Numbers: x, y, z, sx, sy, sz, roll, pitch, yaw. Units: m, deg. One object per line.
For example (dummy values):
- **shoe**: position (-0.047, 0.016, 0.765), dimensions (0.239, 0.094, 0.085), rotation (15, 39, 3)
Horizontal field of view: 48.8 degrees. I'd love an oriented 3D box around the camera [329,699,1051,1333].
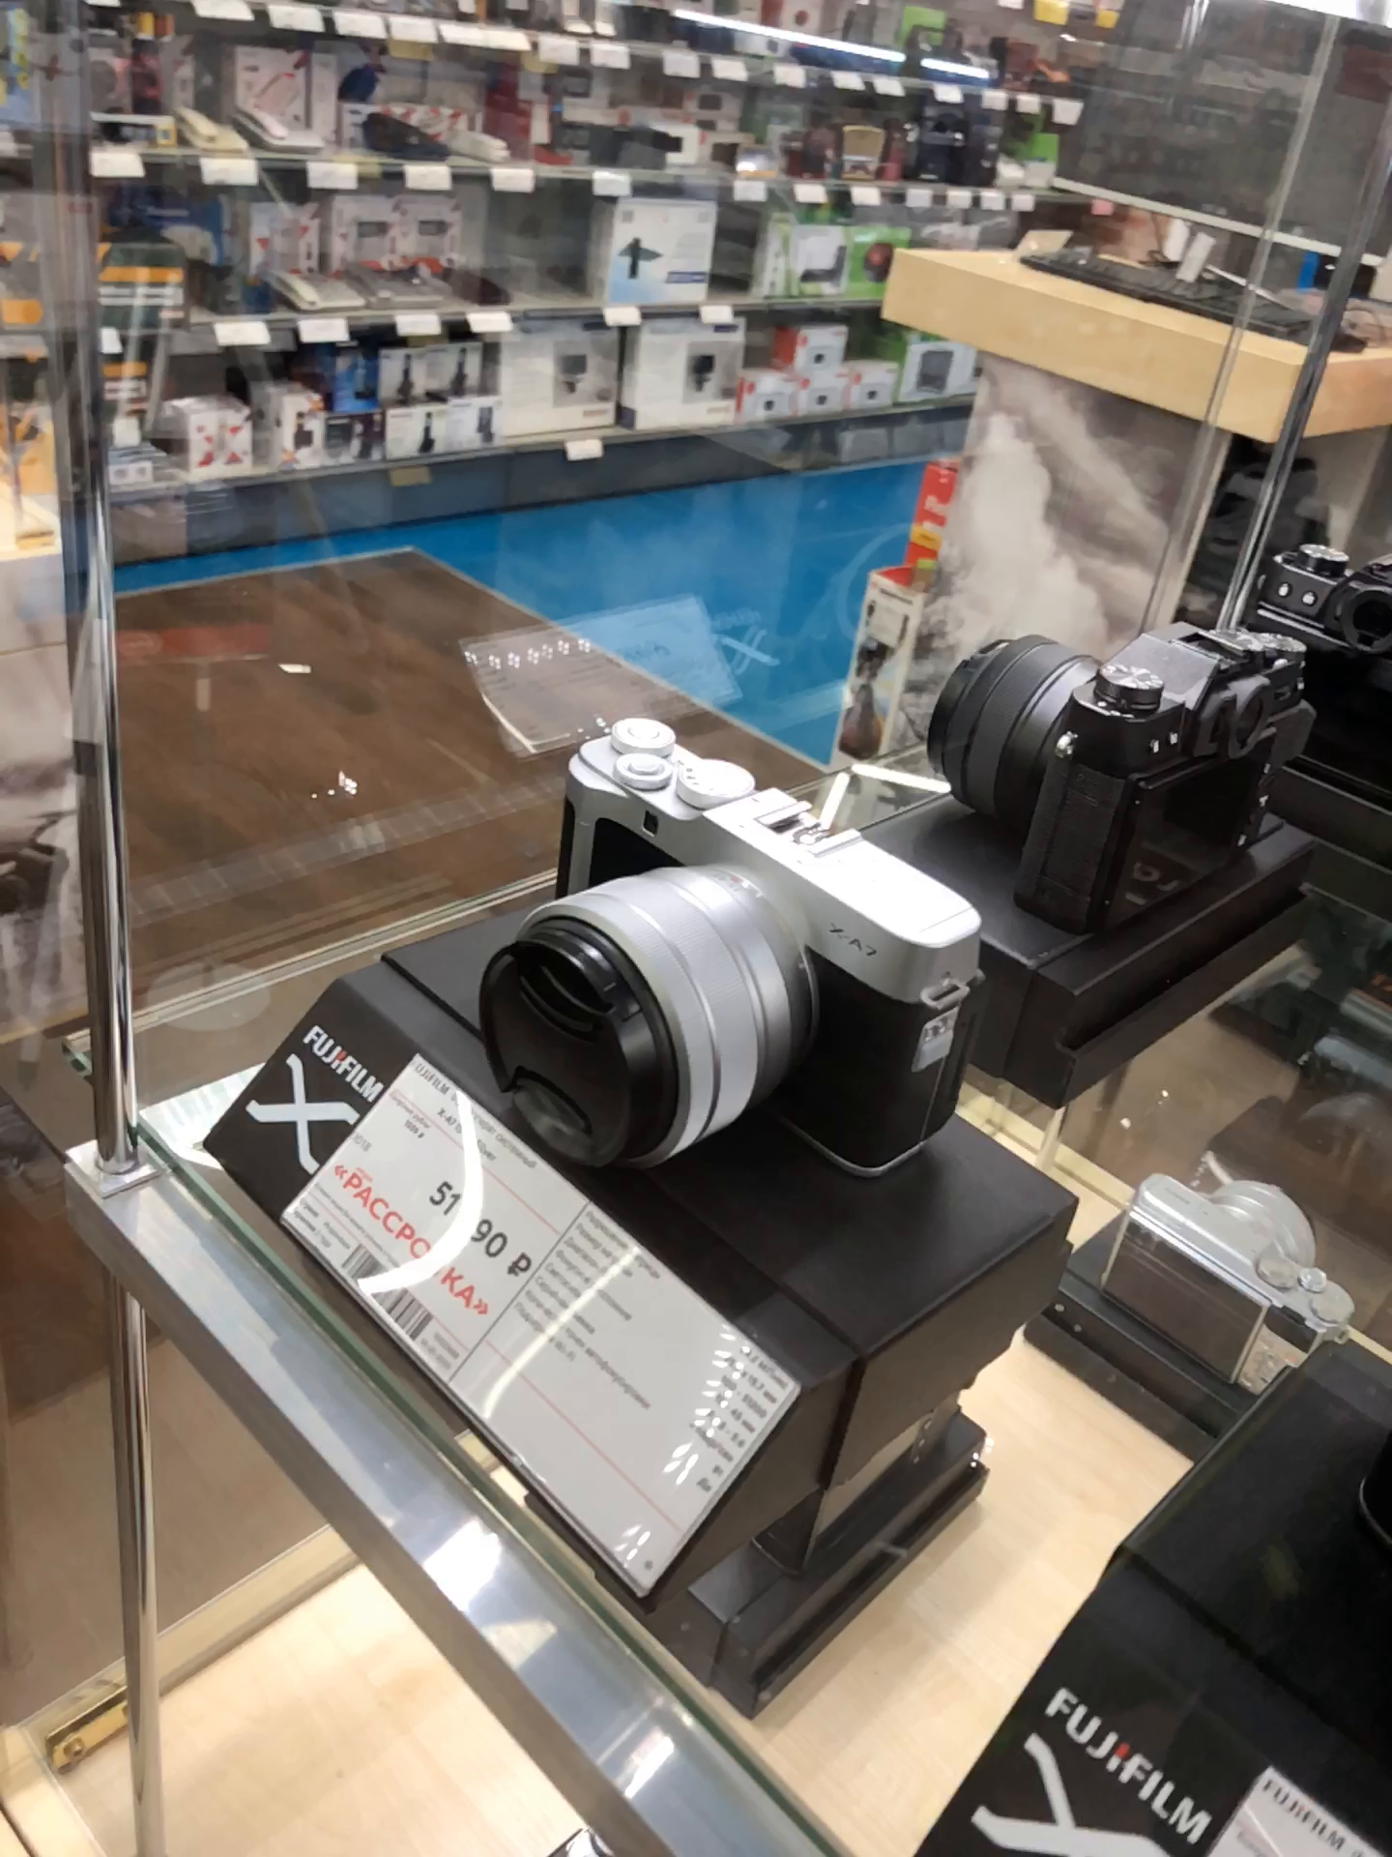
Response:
- **camera**: position (-0.007, 0.010, 0.365), dimensions (0.100, 0.066, 0.133), rotation (-21, 43, -40)
